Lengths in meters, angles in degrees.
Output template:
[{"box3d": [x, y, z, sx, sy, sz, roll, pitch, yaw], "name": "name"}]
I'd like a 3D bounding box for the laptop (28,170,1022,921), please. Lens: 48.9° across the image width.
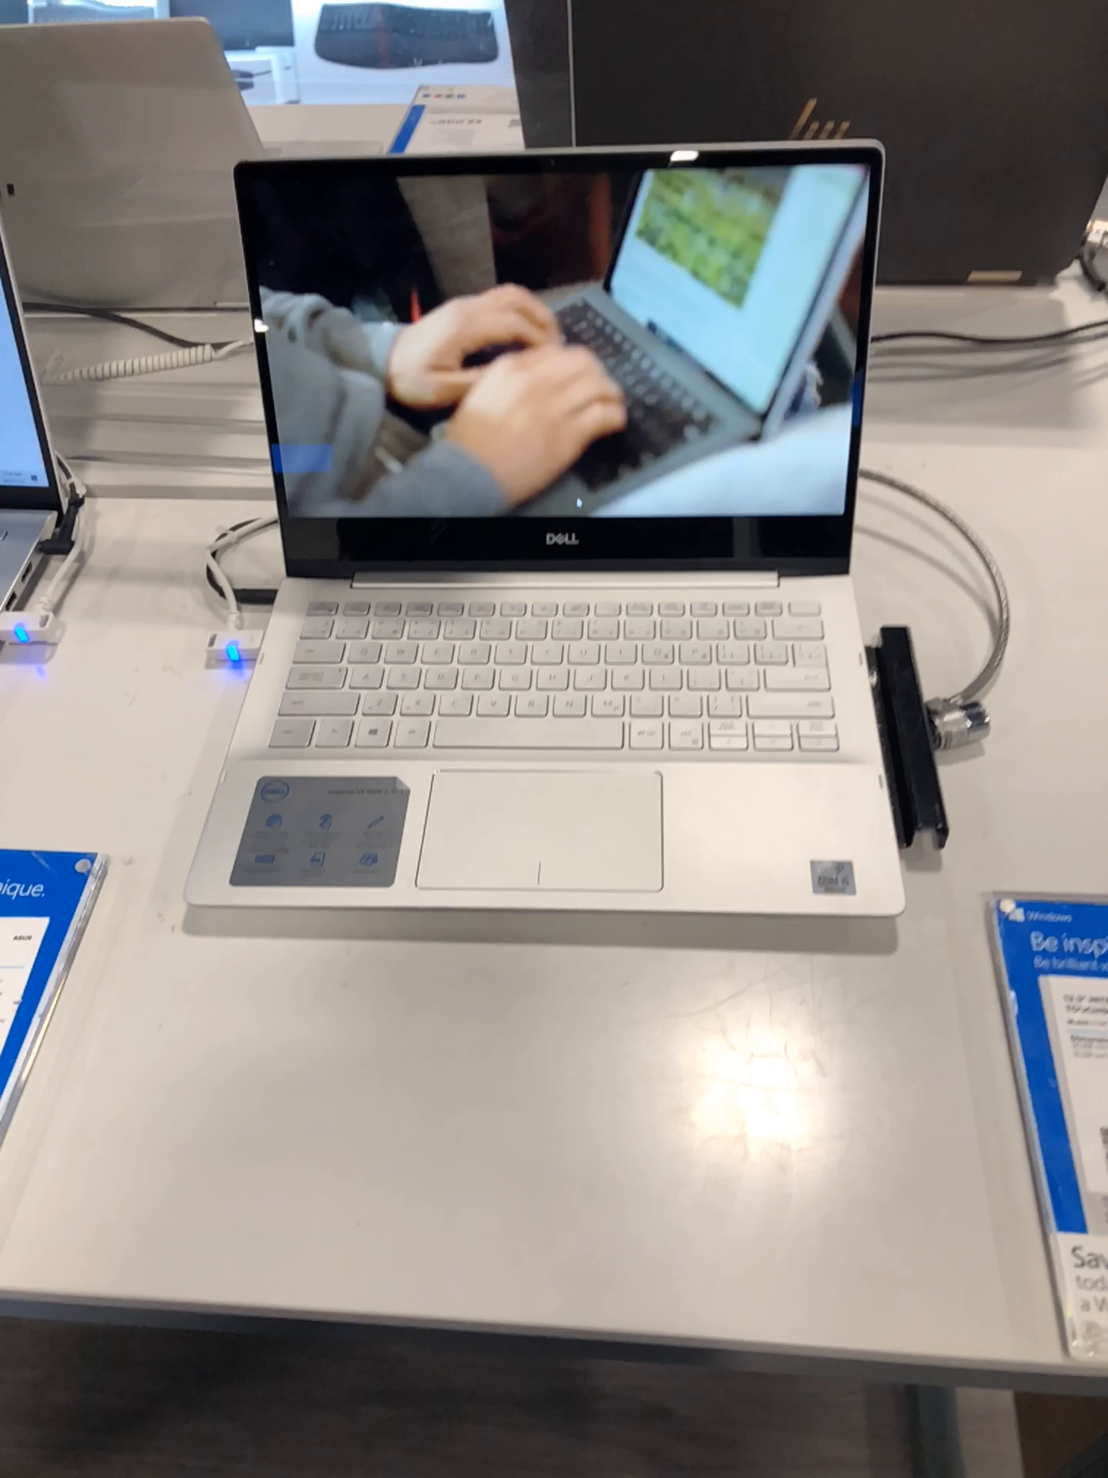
[{"box3d": [-0.003, -0.089, 0.509, 0.285, 0.186, 0.265, 1, 47, 4], "name": "laptop"}]
